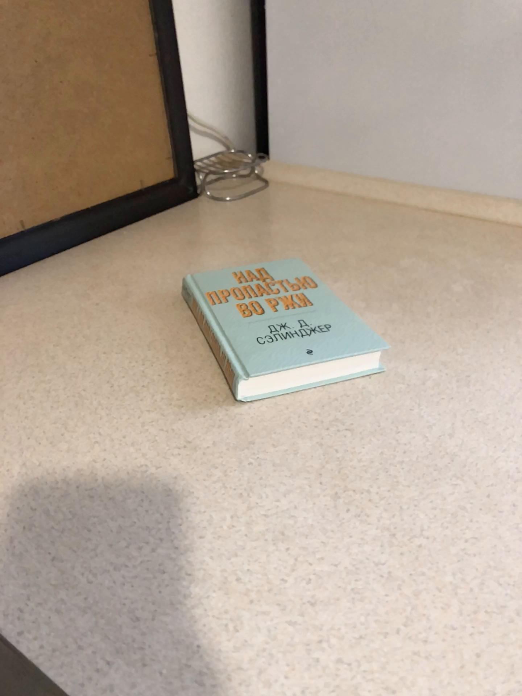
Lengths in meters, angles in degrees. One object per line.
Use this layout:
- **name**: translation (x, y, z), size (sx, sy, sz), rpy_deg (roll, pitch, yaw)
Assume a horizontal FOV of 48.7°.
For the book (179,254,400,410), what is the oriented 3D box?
- **book**: translation (0.012, -0.024, 0.457), size (0.118, 0.020, 0.181), rpy_deg (-11, 33, -14)
